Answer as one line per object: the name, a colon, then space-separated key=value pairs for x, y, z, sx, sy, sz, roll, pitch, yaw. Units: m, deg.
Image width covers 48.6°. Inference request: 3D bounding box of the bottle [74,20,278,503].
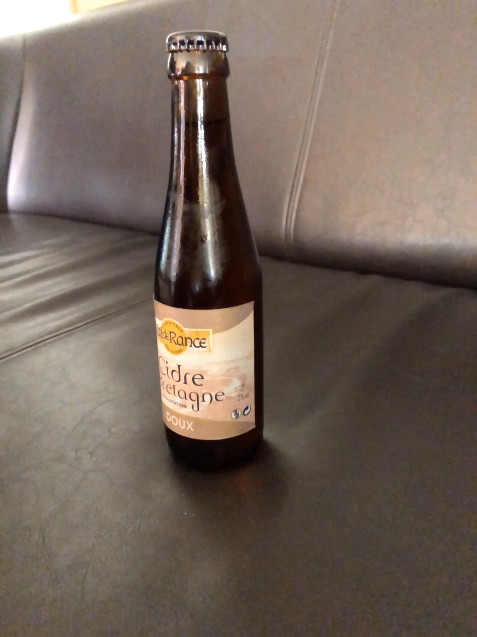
bottle: x=-0.025 y=-0.023 z=0.264 sx=0.060 sy=0.209 sz=0.060 roll=-2 pitch=19 yaw=1
